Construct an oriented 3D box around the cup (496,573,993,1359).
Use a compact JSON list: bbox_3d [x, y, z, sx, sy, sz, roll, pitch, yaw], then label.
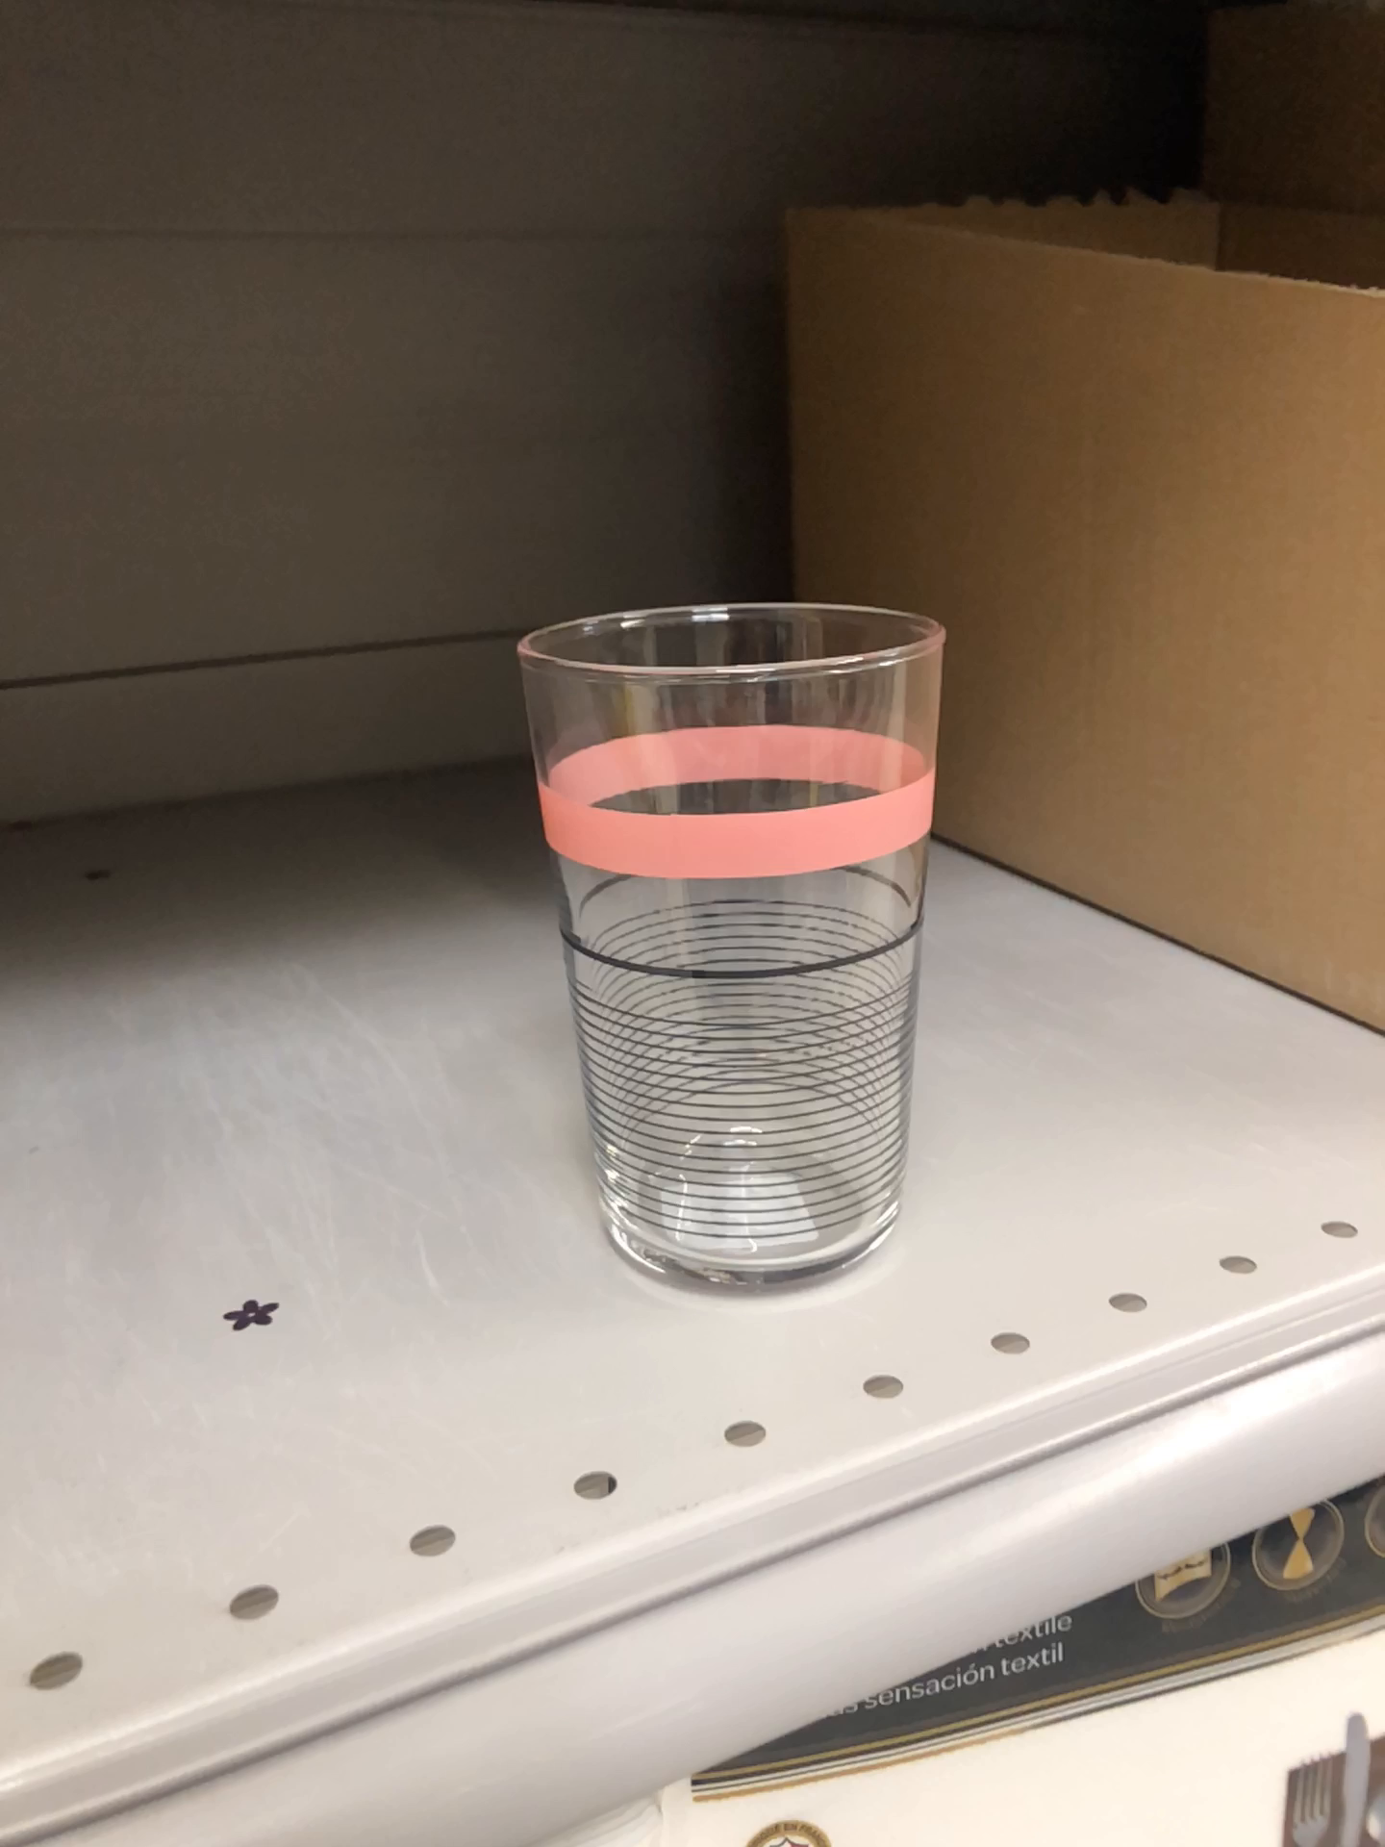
[{"bbox_3d":[0.009,0.005,0.278,0.073,0.123,0.064,-3,21,-2],"label":"cup"}]
